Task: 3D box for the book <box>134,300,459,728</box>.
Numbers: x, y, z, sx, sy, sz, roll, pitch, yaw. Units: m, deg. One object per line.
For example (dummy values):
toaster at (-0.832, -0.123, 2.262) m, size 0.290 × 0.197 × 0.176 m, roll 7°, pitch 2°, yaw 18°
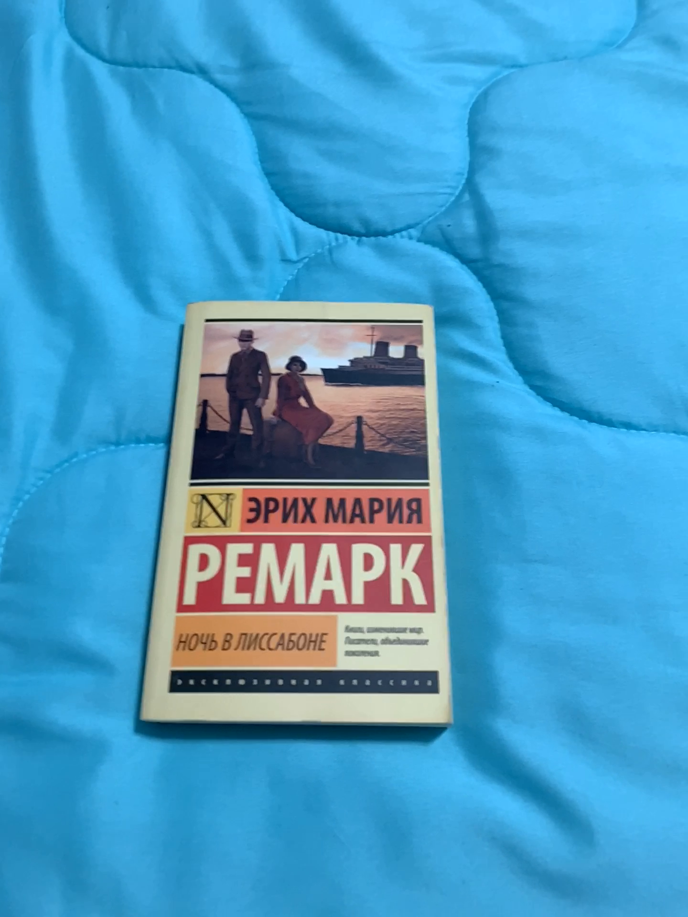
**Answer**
book at (-0.016, 0.016, 0.283) m, size 0.112 × 0.020 × 0.172 m, roll 1°, pitch 69°, yaw -1°
